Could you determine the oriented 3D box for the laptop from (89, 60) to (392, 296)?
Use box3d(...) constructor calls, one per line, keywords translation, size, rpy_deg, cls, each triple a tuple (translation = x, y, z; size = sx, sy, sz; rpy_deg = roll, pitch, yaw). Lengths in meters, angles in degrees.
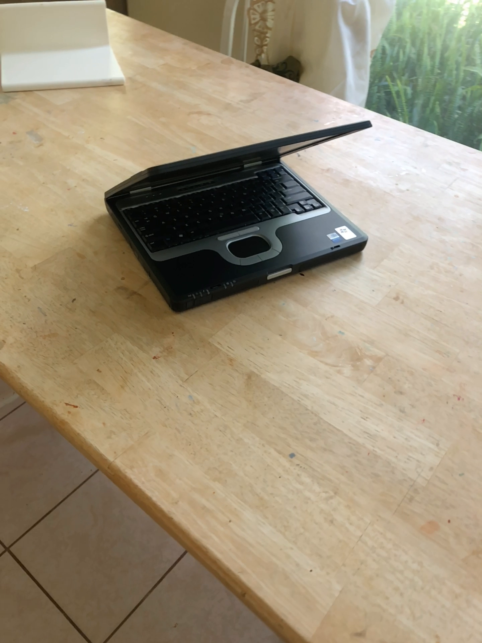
box3d(translation=(-0.013, -0.216, 0.733), size=(0.306, 0.162, 0.256), rpy_deg=(-19, 49, -21), cls="laptop")
